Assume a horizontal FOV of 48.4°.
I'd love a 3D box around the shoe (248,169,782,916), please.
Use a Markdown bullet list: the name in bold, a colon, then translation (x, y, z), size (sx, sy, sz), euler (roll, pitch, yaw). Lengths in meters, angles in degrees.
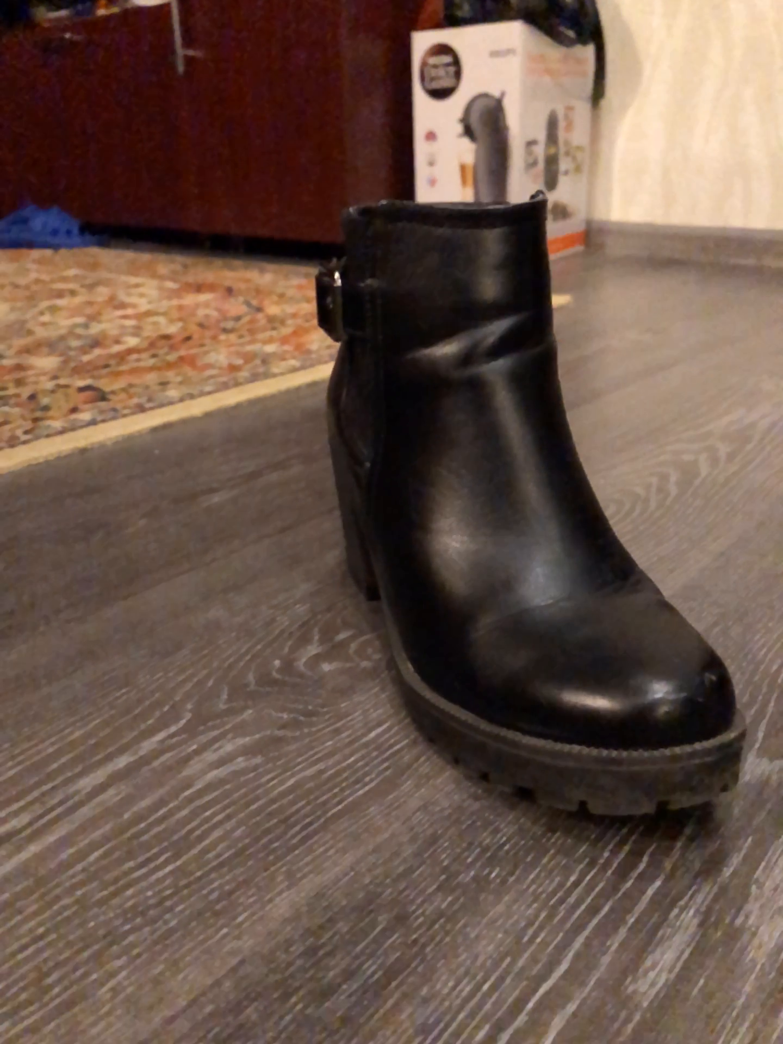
- **shoe**: translation (0.034, -0.028, 0.316), size (0.090, 0.179, 0.241), euler (-11, 25, -23)
